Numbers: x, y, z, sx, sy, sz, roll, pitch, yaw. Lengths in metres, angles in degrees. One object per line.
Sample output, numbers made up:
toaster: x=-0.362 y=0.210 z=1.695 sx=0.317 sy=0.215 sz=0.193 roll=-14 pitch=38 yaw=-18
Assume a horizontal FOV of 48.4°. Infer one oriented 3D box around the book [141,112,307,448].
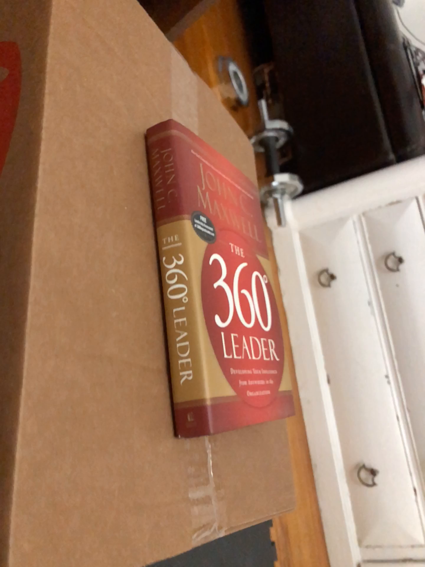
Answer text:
book: x=0.017 y=0.004 z=0.409 sx=0.181 sy=0.030 sz=0.240 roll=20 pitch=58 yaw=-59
